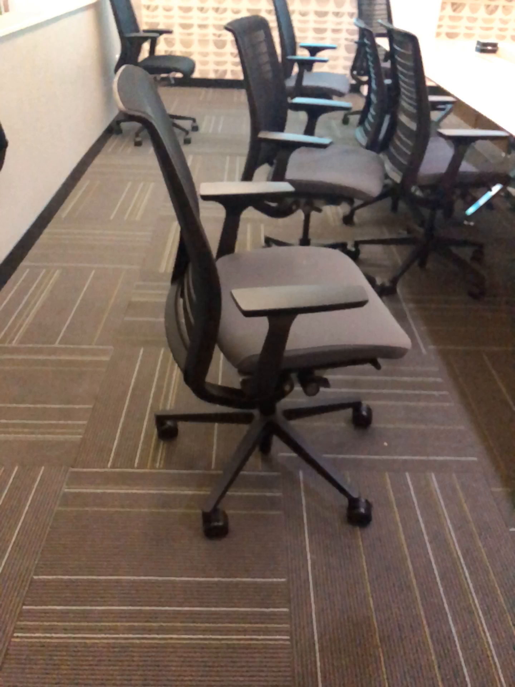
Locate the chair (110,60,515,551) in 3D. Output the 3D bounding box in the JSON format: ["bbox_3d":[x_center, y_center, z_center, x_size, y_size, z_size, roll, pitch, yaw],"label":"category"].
[{"bbox_3d":[0.036,-0.141,1.349,0.660,0.856,0.724,-5,34,-11],"label":"chair"}]
